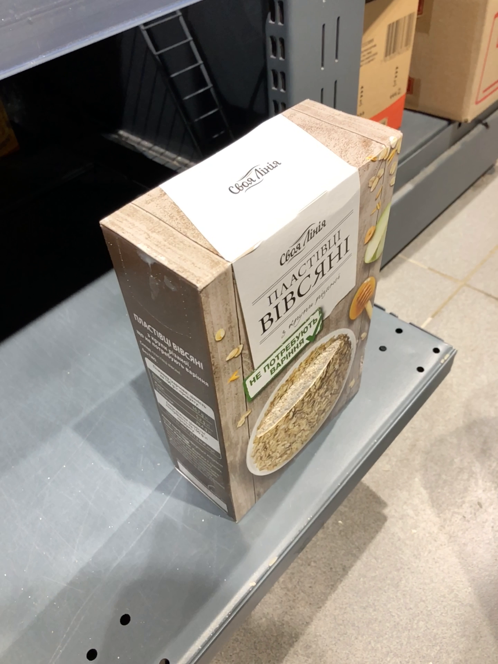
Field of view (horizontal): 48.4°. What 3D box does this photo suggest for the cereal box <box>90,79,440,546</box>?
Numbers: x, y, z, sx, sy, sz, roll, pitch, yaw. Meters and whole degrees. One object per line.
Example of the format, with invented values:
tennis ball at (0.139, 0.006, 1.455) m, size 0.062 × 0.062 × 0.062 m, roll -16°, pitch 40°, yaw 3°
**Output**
cereal box at (0.017, 0.002, 0.325) m, size 0.070 × 0.228 × 0.151 m, roll 33°, pitch 57°, yaw 28°
